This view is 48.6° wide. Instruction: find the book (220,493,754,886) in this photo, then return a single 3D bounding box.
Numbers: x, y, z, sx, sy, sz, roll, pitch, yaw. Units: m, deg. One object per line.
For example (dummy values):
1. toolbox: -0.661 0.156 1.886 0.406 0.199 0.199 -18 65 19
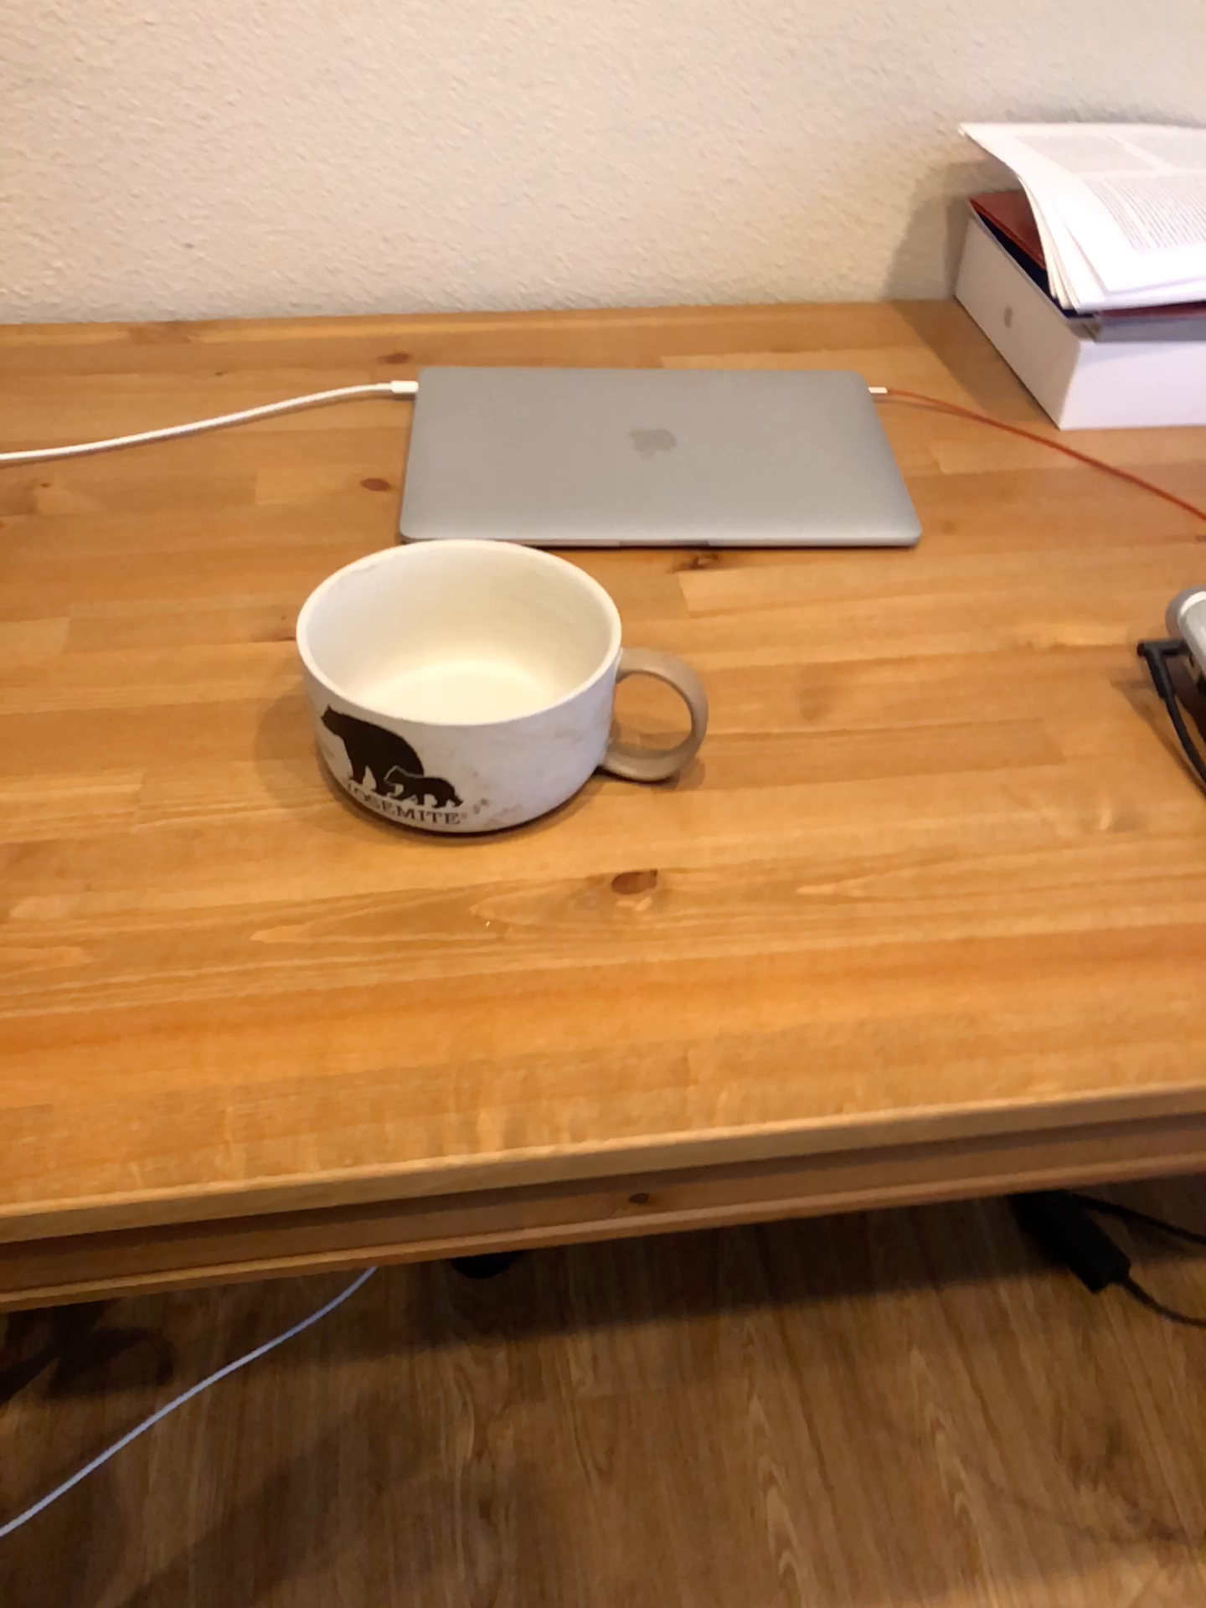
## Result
1. book: -0.042 -0.055 0.578 0.190 0.080 0.131 10 43 9
